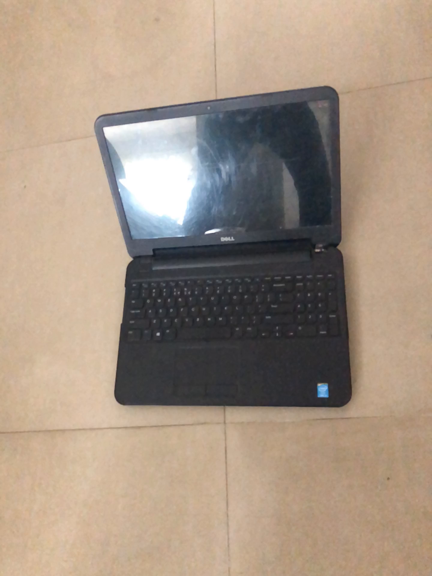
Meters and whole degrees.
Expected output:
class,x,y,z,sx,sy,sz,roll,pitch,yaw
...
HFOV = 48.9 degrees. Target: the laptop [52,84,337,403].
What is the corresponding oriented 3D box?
class,x,y,z,sx,sy,sz,roll,pitch,yaw
laptop,-0.010,-0.050,0.702,0.343,0.179,0.406,-3,69,13
